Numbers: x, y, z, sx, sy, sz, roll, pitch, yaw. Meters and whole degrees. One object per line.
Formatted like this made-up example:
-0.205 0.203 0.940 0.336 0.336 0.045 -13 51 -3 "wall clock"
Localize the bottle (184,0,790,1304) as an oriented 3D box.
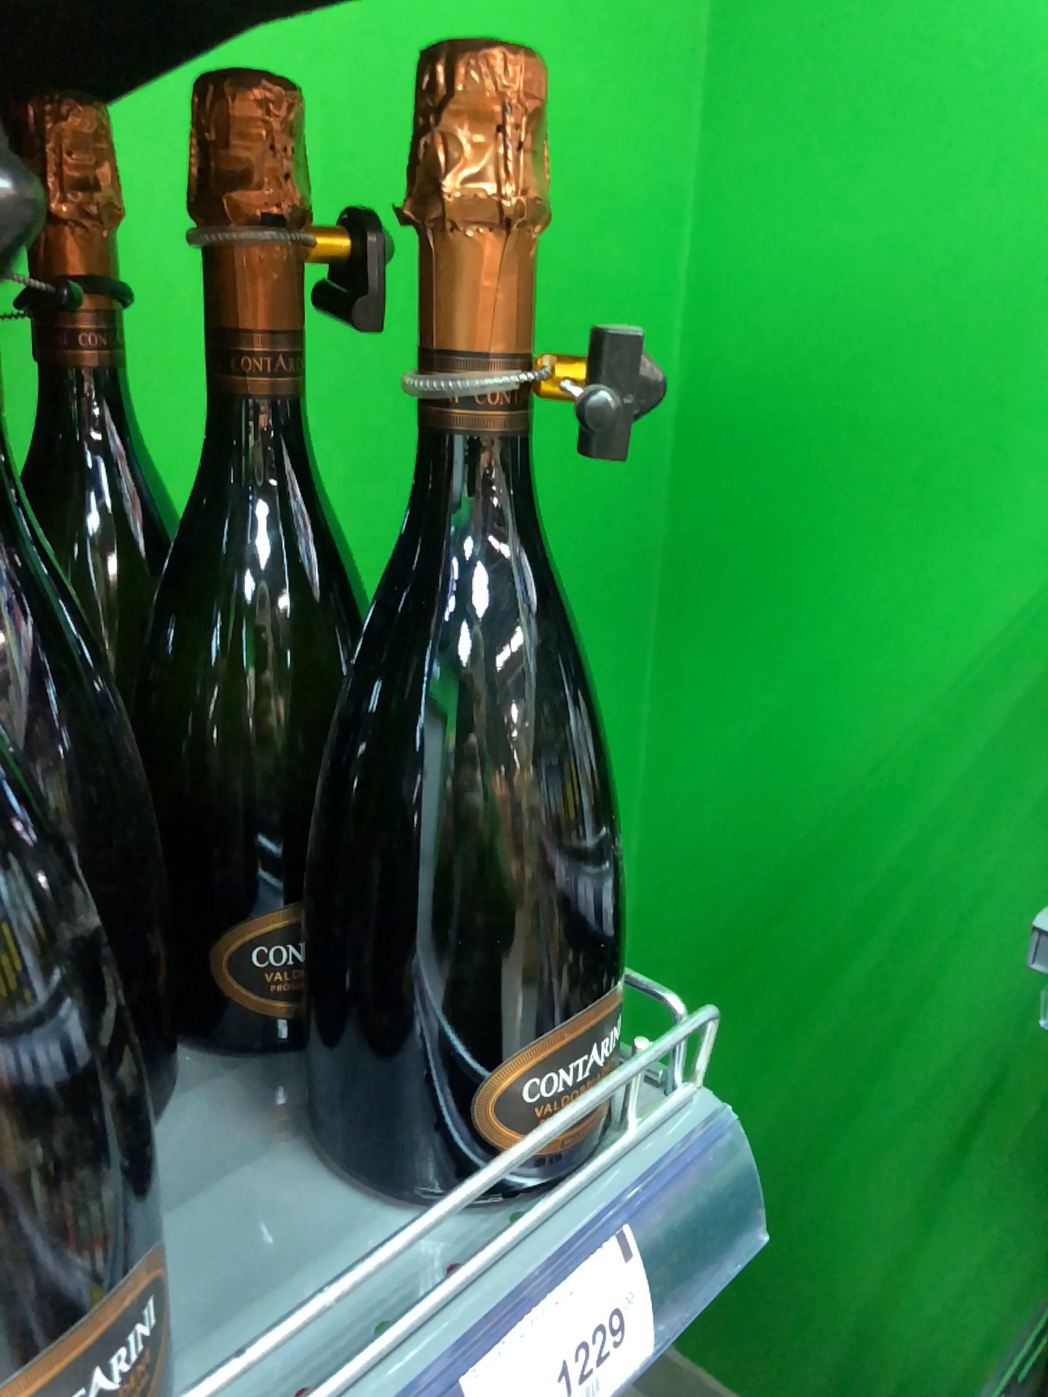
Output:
-0.013 -0.013 0.313 0.100 0.299 0.100 2 17 -1 "bottle"
